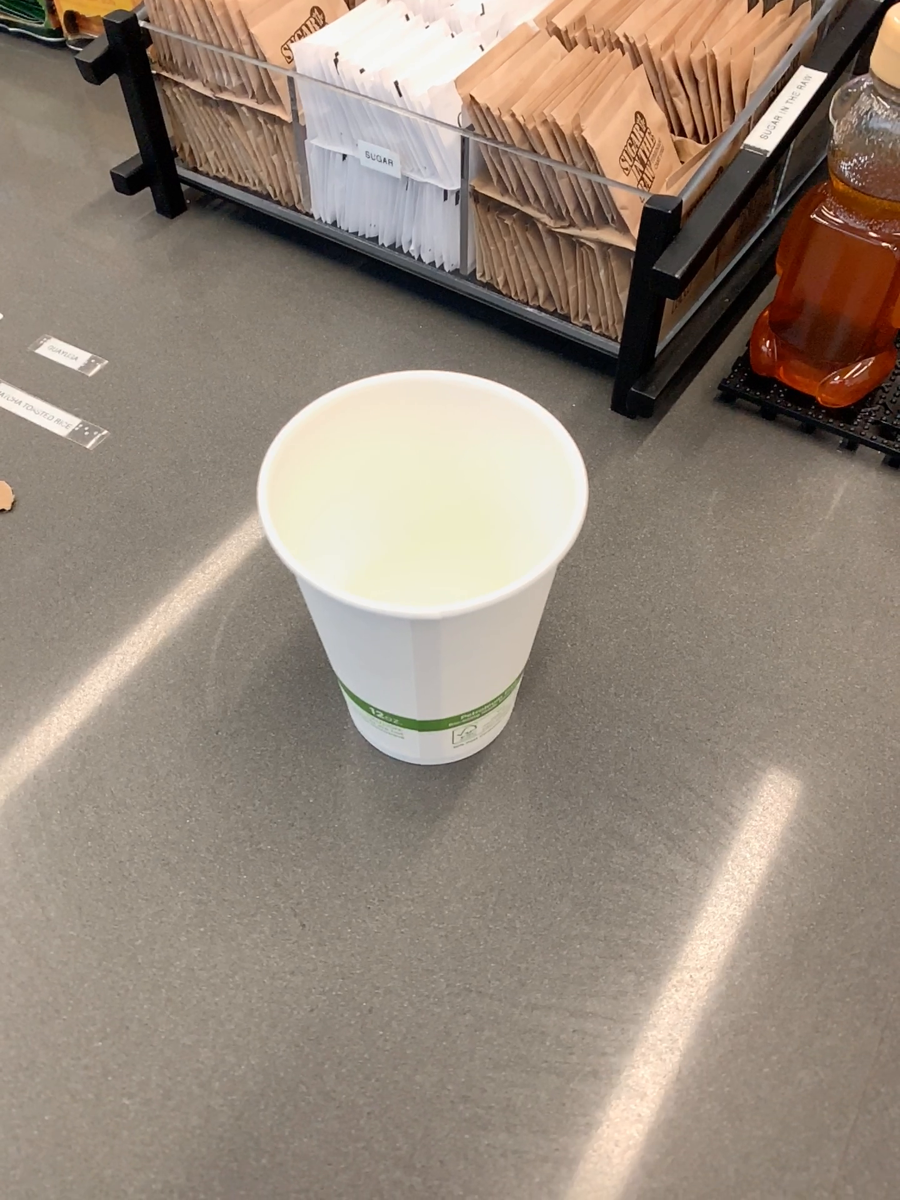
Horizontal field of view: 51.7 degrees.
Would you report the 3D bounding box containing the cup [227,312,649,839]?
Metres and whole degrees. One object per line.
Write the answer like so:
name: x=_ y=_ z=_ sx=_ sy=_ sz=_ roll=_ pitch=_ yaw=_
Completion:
cup: x=-0.006 y=-0.002 z=0.272 sx=0.080 sy=0.120 sz=0.080 roll=0 pitch=53 yaw=0
